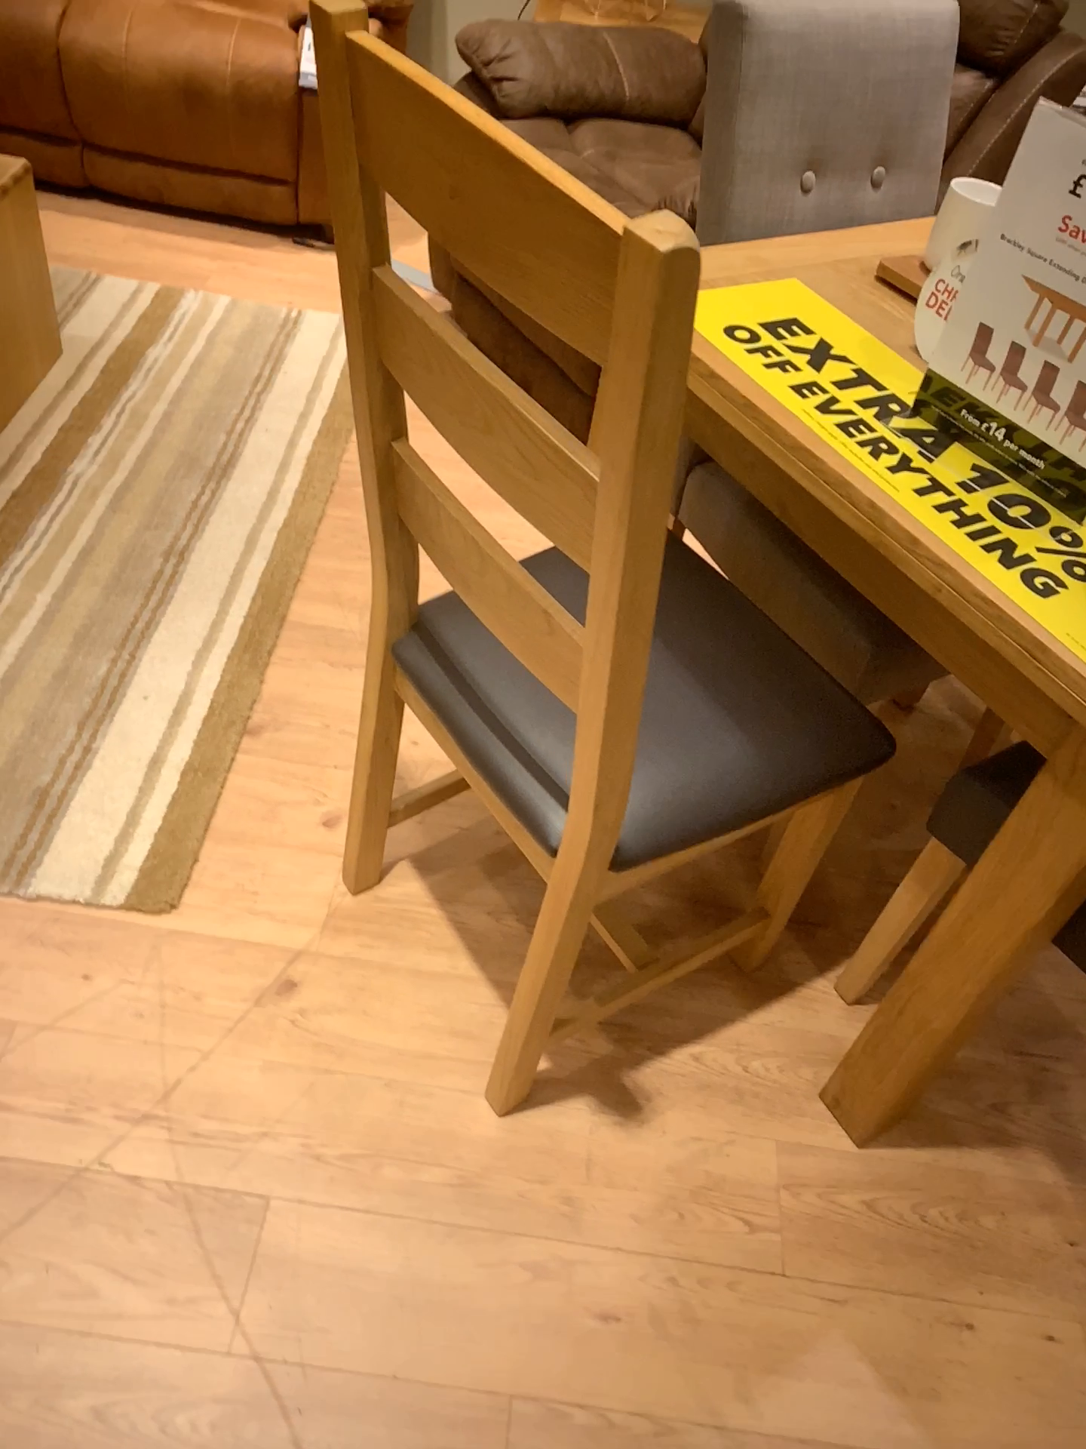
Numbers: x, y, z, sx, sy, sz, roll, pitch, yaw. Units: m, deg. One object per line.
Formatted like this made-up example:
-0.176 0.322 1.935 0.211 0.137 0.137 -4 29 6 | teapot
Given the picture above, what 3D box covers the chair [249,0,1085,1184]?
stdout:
0.071 -0.077 1.166 0.552 1.100 0.473 -20 53 -27 | chair
